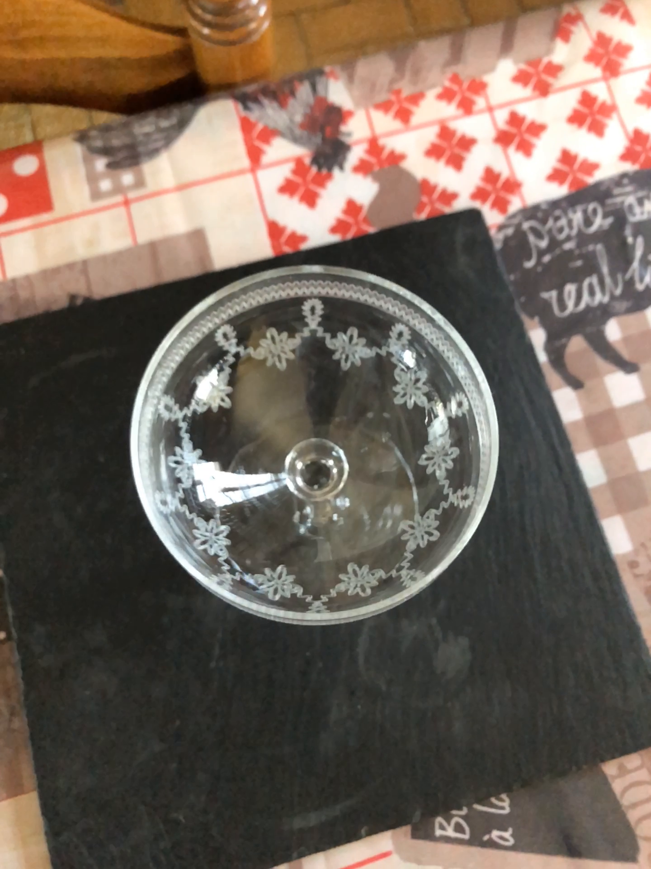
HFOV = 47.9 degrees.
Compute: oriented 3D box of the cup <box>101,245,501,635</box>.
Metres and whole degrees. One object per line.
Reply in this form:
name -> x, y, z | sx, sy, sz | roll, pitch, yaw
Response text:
cup -> -0.003, 0.014, 0.234 | 0.090, 0.120, 0.090 | 0, 74, 0
